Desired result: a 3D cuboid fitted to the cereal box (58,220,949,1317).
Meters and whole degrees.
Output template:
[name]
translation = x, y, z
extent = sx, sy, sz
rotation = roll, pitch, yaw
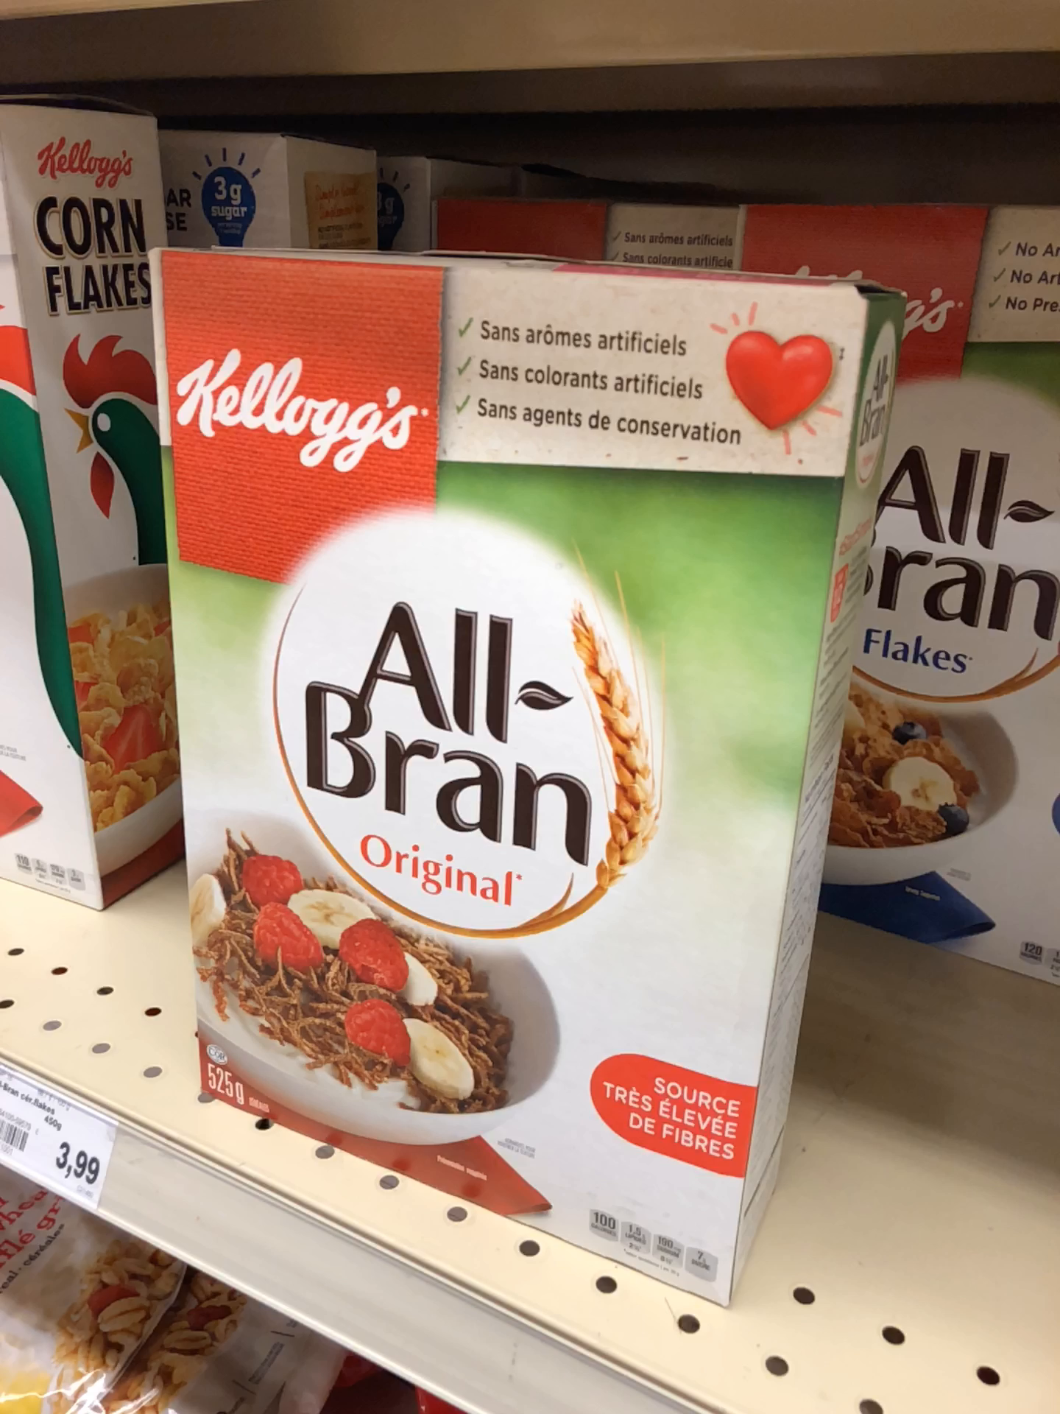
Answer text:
[cereal box]
translation = -0.016, 0.009, 0.296
extent = 0.190, 0.238, 0.050
rotation = 12, 24, 24
